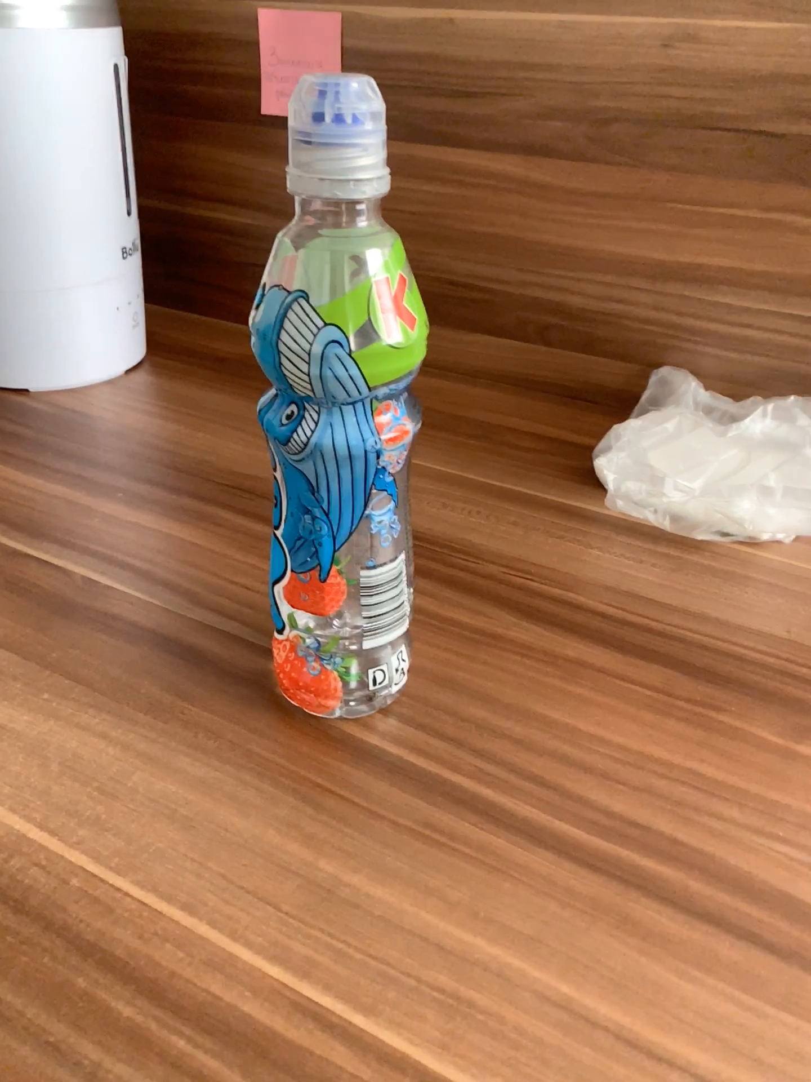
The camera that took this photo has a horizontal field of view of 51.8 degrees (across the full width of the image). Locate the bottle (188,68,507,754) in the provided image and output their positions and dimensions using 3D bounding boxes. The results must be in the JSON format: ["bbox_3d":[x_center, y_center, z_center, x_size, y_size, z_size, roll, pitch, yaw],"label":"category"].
[{"bbox_3d":[-0.023,-0.041,0.318,0.070,0.239,0.070,2,32,-1],"label":"bottle"}]
